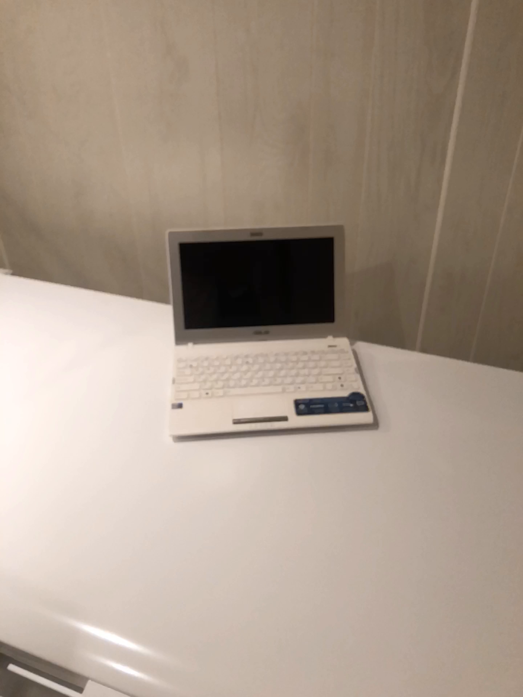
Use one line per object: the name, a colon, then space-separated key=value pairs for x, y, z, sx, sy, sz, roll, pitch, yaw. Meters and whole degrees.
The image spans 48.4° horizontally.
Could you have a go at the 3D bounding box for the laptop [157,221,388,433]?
laptop: x=0.004 y=-0.047 z=0.887 sx=0.287 sy=0.168 sz=0.294 roll=-3 pitch=37 yaw=-3
